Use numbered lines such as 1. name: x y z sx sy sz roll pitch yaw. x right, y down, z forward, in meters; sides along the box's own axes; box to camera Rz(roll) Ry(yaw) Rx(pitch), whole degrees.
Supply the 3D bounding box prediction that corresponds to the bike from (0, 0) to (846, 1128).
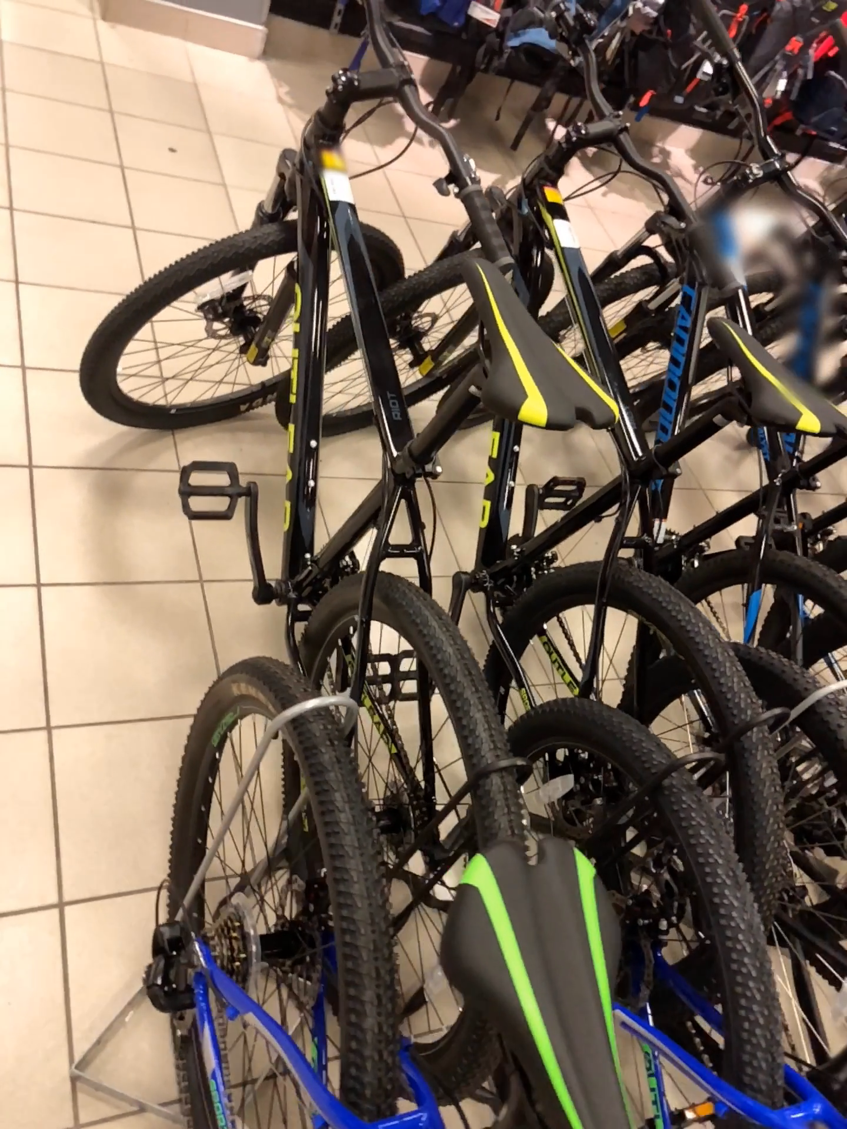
1. bike: -0.262 -0.022 1.219 0.663 1.044 1.355 -10 54 -33
